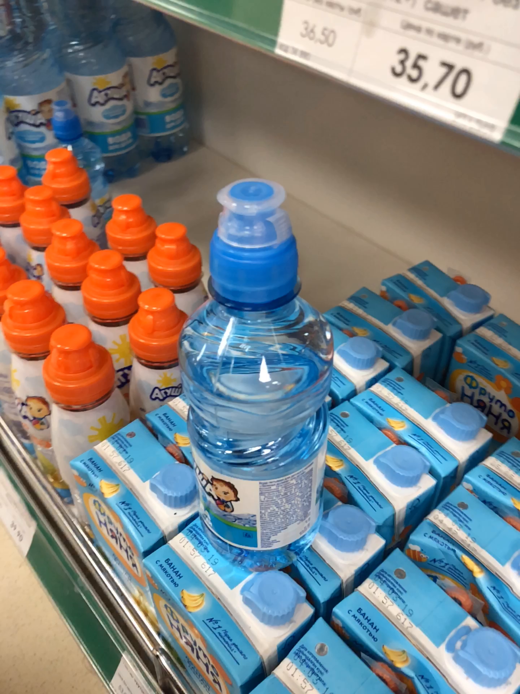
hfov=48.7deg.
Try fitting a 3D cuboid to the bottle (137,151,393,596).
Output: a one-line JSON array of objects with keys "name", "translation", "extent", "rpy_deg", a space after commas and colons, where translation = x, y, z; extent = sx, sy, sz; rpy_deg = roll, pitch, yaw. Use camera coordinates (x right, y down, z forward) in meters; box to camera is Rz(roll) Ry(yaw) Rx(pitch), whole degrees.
[{"name": "bottle", "translation": [0.000, 0.021, 0.235], "extent": [0.056, 0.174, 0.060], "rpy_deg": [0, 41, 0]}]
